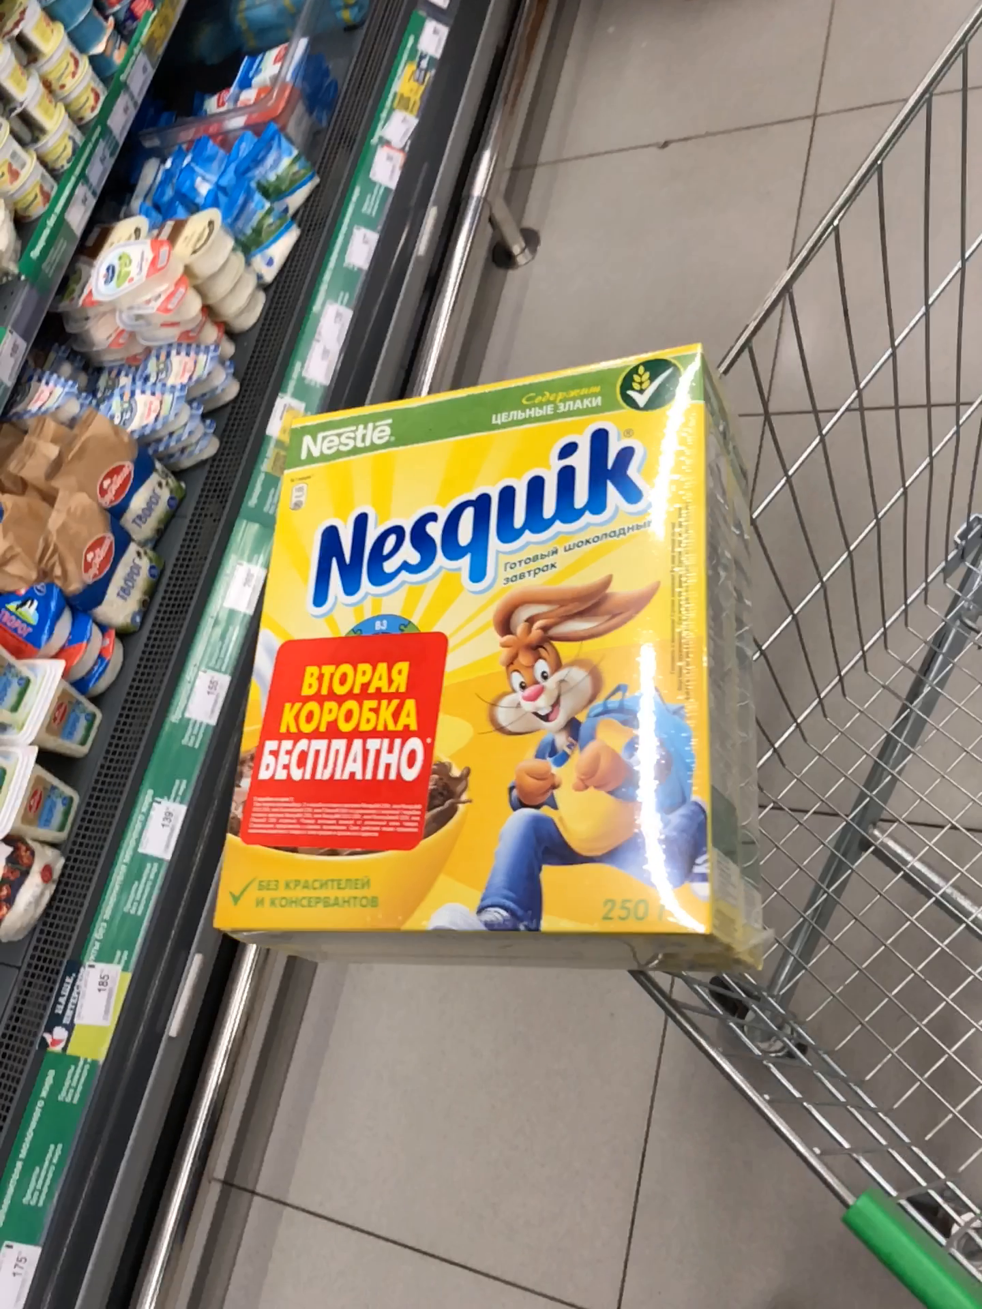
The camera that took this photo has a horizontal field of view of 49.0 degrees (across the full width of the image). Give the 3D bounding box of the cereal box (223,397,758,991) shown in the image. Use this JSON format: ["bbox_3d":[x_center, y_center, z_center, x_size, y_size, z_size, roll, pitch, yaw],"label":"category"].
[{"bbox_3d":[0.004,0.018,0.476,0.210,0.050,0.241,-5,66,21],"label":"cereal box"}]

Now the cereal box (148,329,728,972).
[{"bbox_3d":[-0.016,-0.001,0.440,0.210,0.050,0.241,-5,66,21],"label":"cereal box"}]
